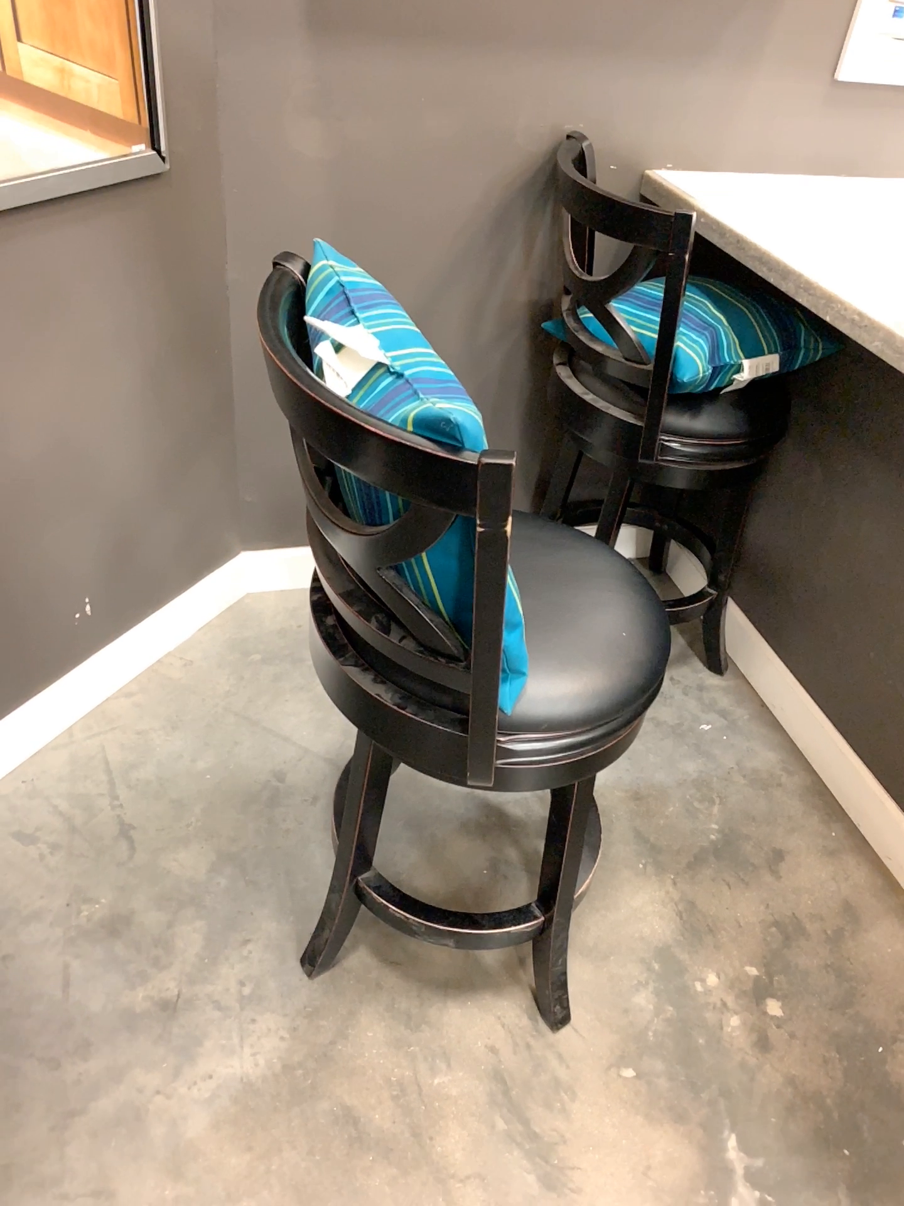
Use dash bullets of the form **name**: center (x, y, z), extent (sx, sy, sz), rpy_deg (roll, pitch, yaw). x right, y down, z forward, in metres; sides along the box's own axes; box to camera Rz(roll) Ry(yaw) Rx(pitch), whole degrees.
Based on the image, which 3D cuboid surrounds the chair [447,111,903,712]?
- **chair**: center (0.393, -0.347, 1.751), extent (0.595, 0.923, 0.538), rpy_deg (-5, 39, -16)

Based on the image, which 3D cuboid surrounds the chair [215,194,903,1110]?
- **chair**: center (0.061, 0.068, 1.118), extent (0.595, 0.903, 0.538), rpy_deg (-5, 39, -16)
